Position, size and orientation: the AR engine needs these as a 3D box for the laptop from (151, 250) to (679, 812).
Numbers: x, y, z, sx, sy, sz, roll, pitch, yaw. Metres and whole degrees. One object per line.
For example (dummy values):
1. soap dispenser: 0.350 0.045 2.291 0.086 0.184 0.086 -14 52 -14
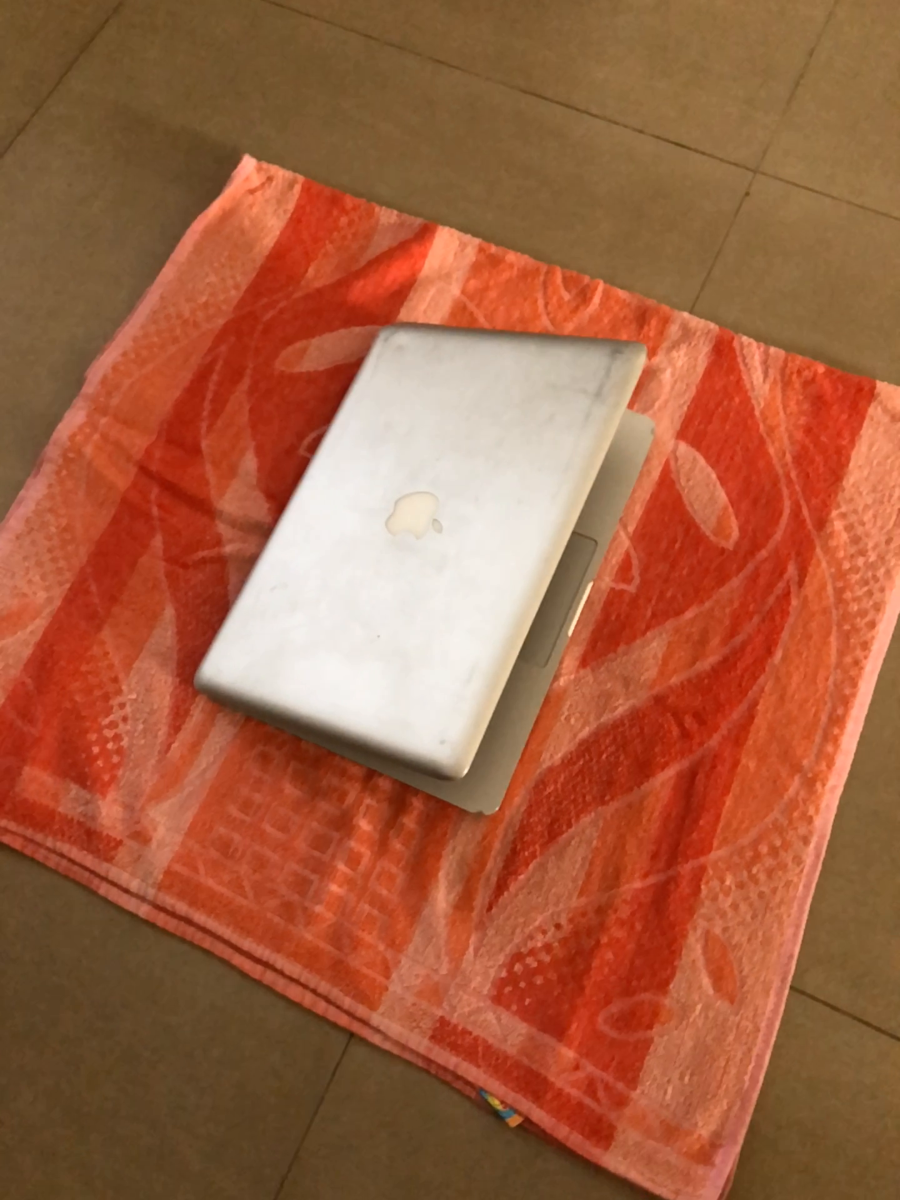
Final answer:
1. laptop: -0.013 -0.054 0.662 0.222 0.087 0.311 22 72 10
